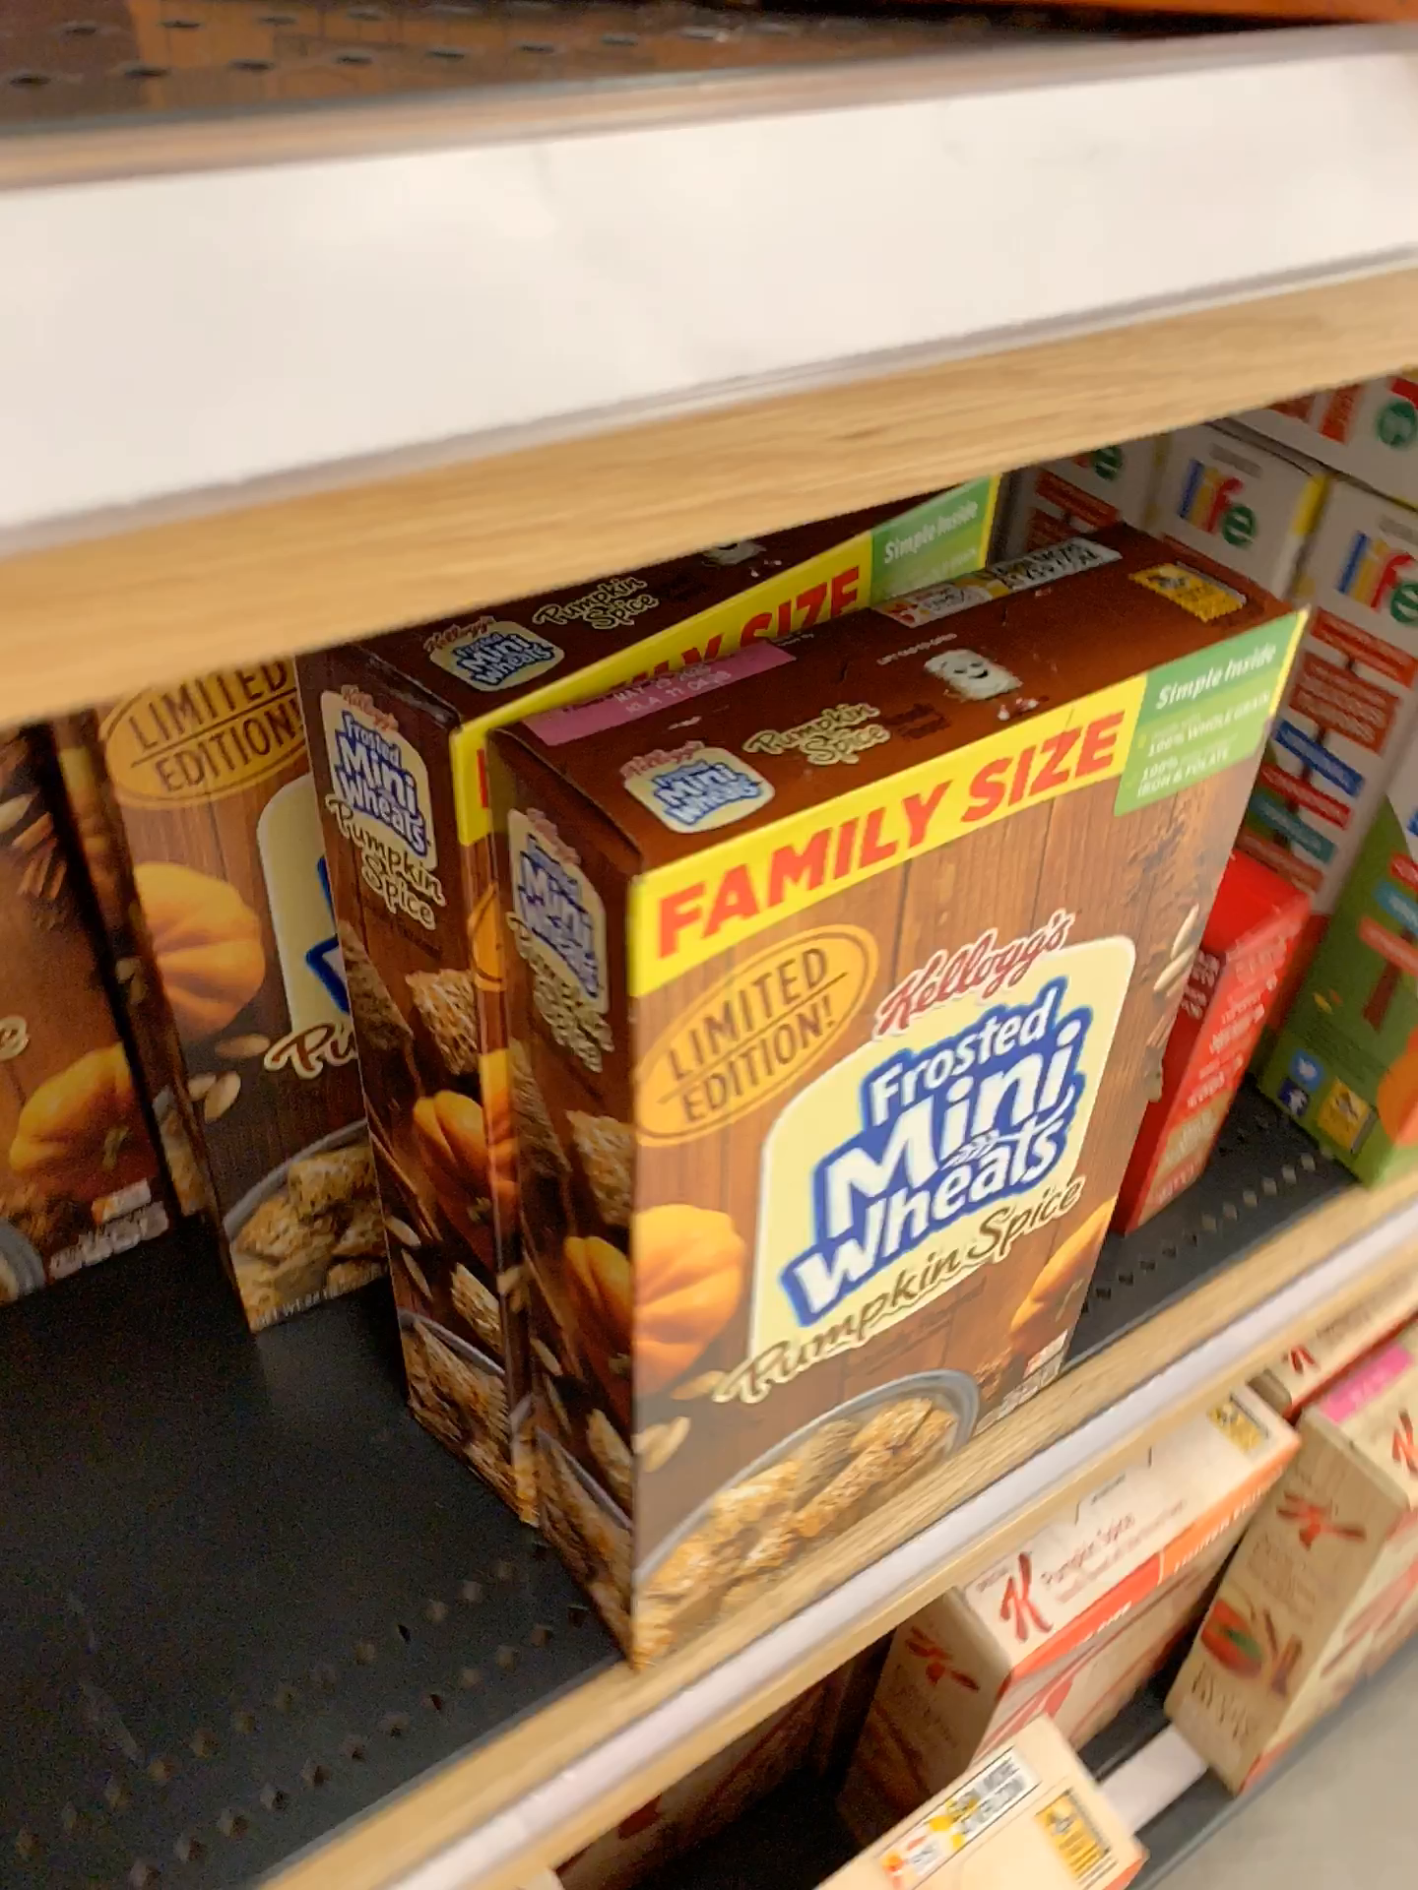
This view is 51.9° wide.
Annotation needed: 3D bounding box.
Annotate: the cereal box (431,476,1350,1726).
[{"bbox_3d":[0.042,0.056,0.385,0.200,0.308,0.050,-25,46,-29],"label":"cereal box"}]
